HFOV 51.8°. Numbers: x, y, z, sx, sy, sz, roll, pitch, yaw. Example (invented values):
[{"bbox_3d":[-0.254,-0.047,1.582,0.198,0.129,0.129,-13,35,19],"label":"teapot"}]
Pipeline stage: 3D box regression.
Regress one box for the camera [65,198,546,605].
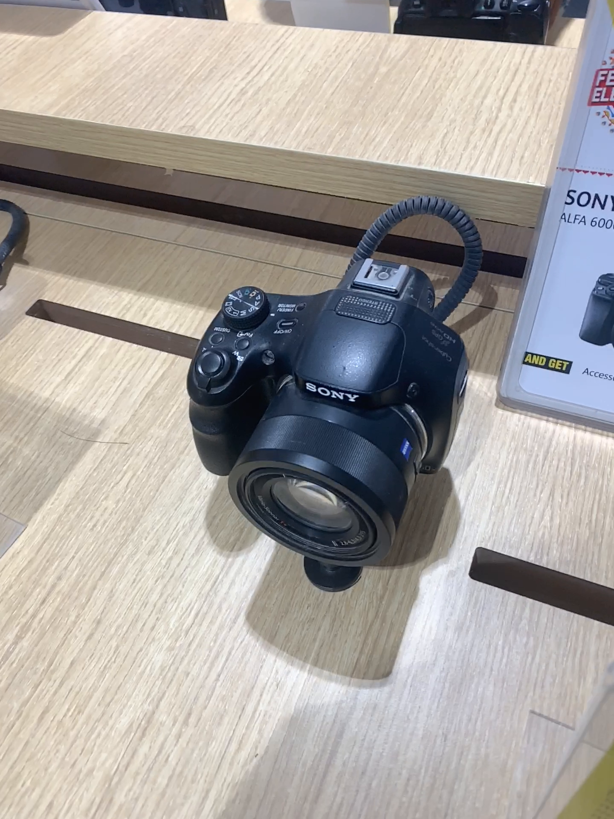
[{"bbox_3d":[0.005,-0.005,0.253,0.140,0.100,0.090,14,54,17],"label":"camera"}]
